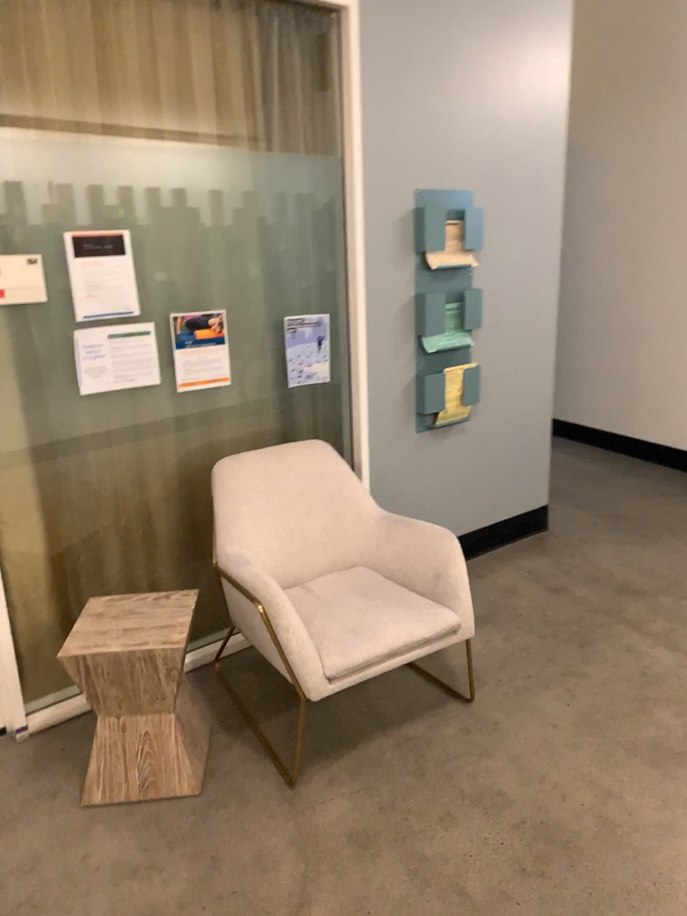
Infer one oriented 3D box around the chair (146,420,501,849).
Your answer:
[{"bbox_3d":[-0.082,0.462,2.361,0.780,0.926,0.873,-13,19,-33],"label":"chair"}]
